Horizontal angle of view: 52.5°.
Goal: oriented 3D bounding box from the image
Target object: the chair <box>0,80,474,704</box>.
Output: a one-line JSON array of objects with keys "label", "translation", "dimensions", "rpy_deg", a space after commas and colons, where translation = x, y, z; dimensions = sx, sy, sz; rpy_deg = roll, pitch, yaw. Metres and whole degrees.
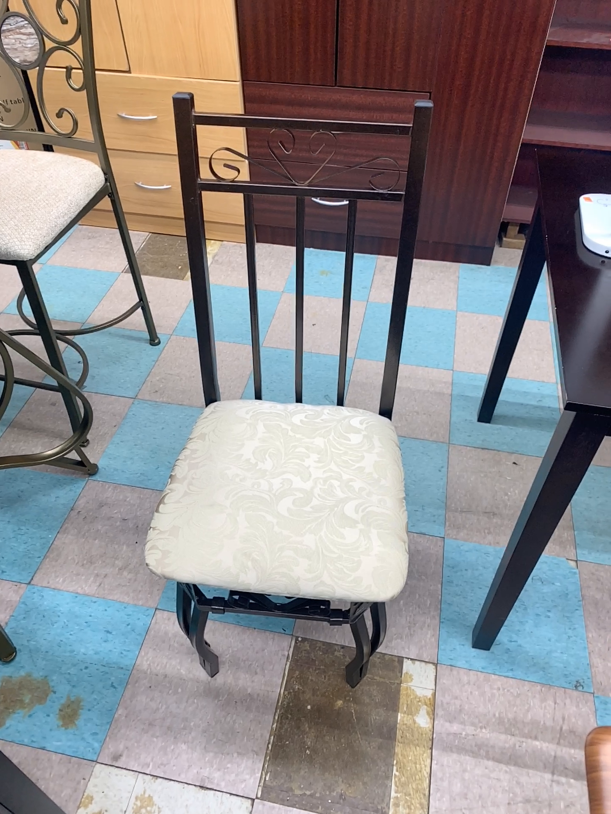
[{"label": "chair", "translation": [-0.039, 0.056, 1.033], "dimensions": [0.415, 0.951, 0.478], "rpy_deg": [4, 46, 5]}]
